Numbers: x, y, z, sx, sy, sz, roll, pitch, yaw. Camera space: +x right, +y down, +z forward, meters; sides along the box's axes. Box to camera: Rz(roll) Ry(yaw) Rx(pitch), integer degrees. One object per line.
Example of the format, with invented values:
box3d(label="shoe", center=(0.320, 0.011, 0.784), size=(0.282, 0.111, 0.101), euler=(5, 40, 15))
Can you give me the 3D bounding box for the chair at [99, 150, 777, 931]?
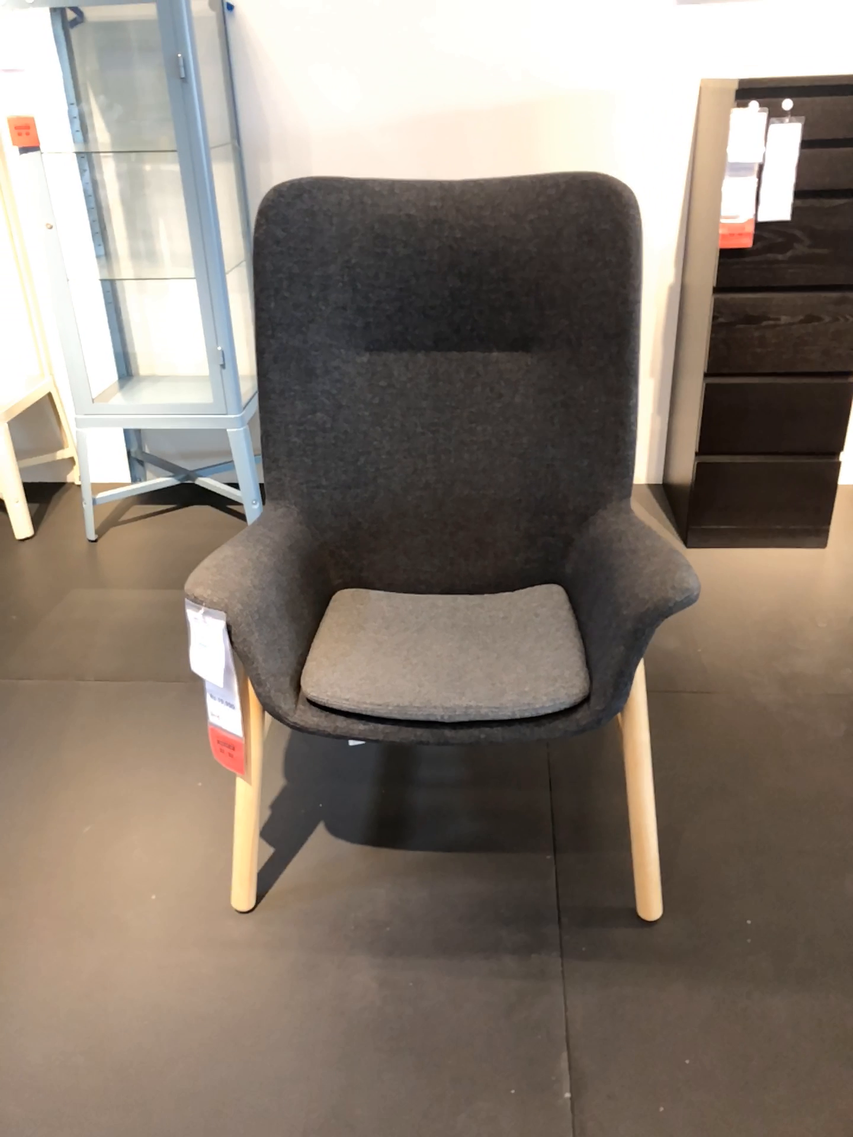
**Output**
box3d(label="chair", center=(0.043, -0.079, 1.541), size=(0.720, 1.063, 0.715), euler=(0, 27, 4))
